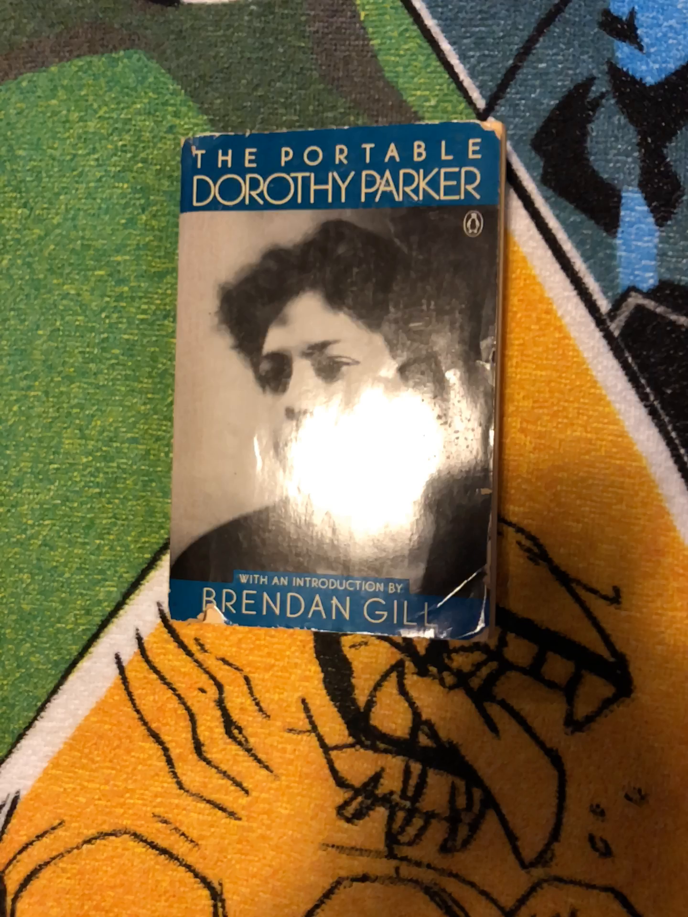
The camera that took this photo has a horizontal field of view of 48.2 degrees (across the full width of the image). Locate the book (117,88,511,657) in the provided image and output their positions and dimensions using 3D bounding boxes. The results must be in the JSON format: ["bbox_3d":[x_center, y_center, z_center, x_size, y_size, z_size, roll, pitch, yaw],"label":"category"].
[{"bbox_3d":[-0.010,-0.032,0.299,0.140,0.040,0.200,1,90,7],"label":"book"}]
